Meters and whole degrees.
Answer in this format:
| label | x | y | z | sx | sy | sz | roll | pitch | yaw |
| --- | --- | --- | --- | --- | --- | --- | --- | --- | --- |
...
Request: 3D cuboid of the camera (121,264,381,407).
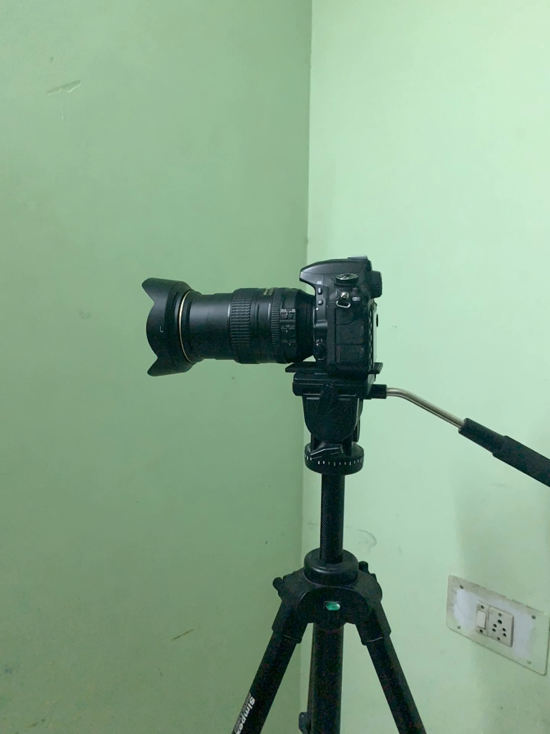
| label | x | y | z | sx | sy | sz | roll | pitch | yaw |
| --- | --- | --- | --- | --- | --- | --- | --- | --- | --- |
| camera | -0.015 | -0.046 | 0.626 | 0.250 | 0.132 | 0.164 | 3 | 10 | 13 |
